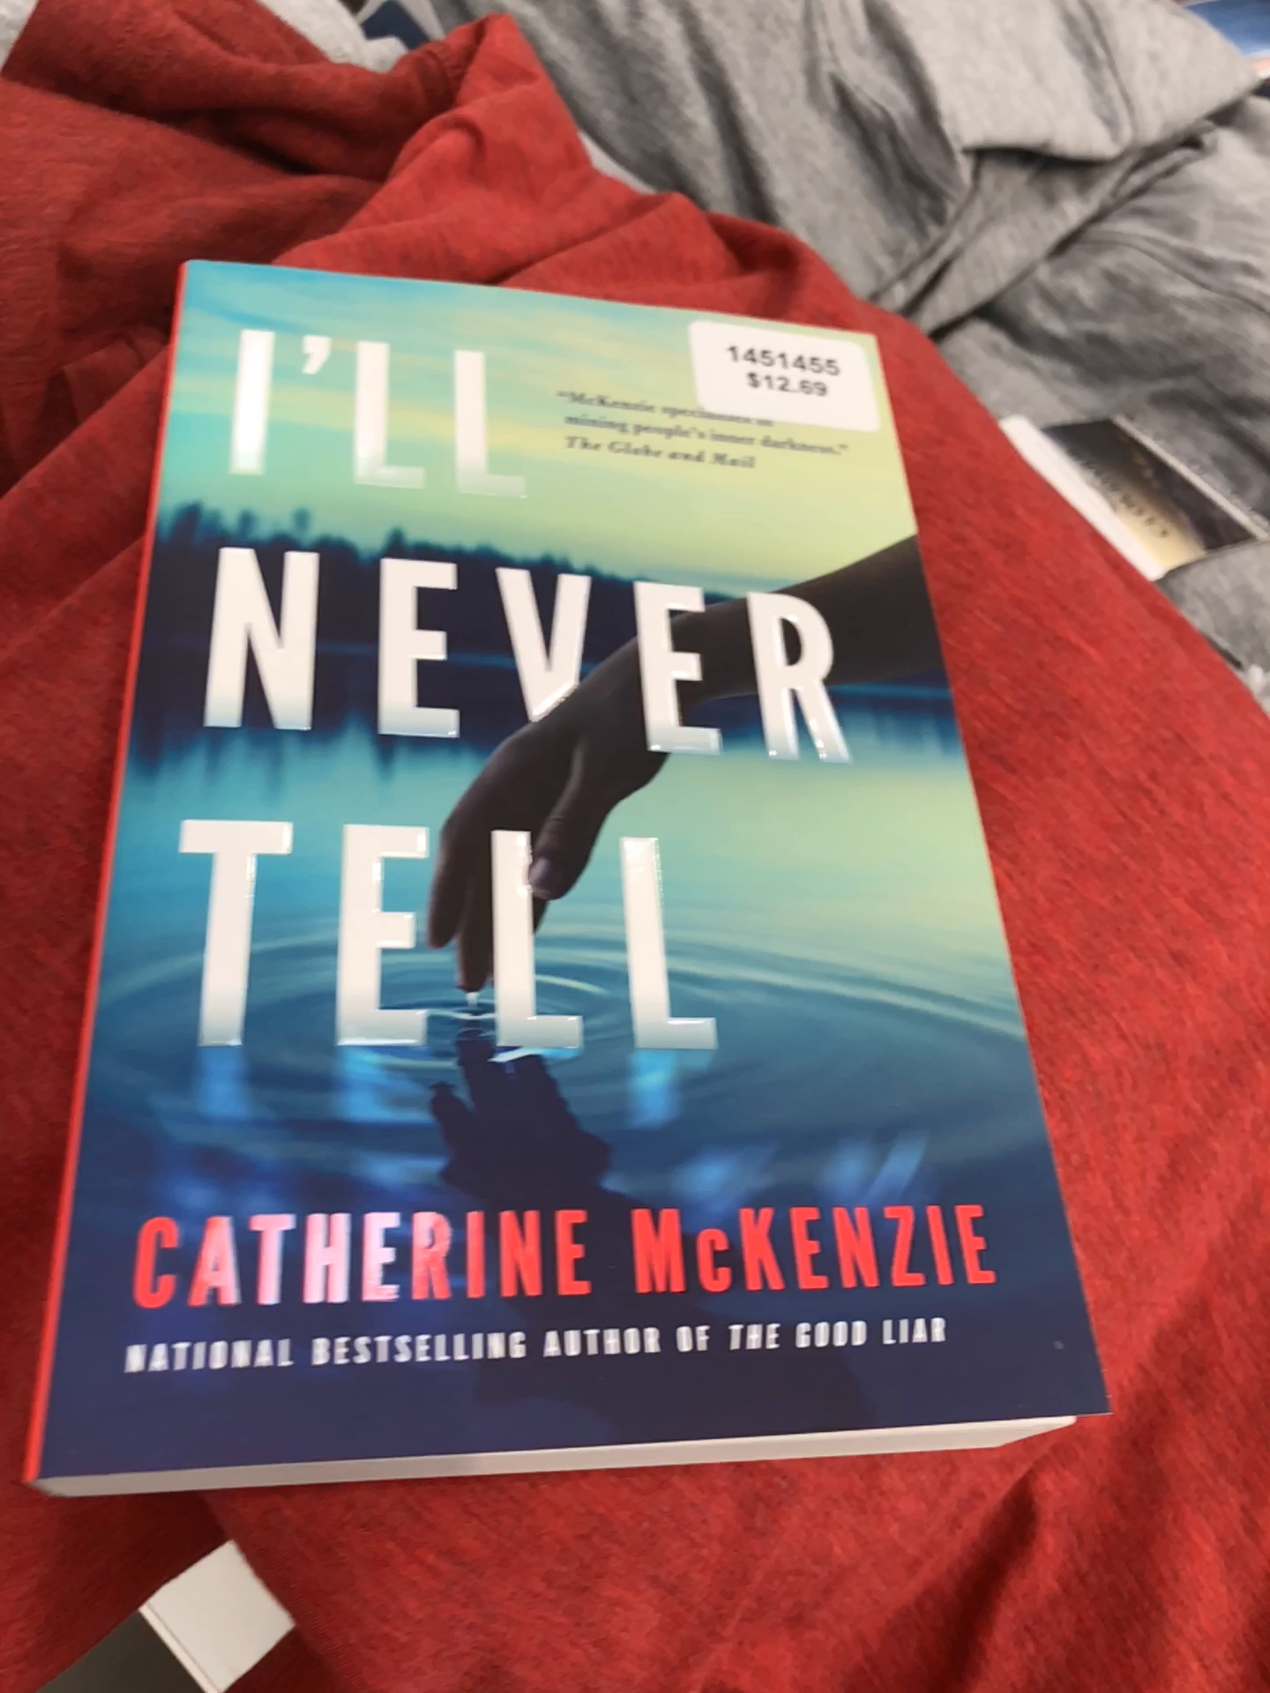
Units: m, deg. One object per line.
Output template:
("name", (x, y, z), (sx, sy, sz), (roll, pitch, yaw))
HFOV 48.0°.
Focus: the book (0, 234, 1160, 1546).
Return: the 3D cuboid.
("book", (-0.013, -0.008, 0.233), (0.143, 0.032, 0.209), (2, 60, -13))
